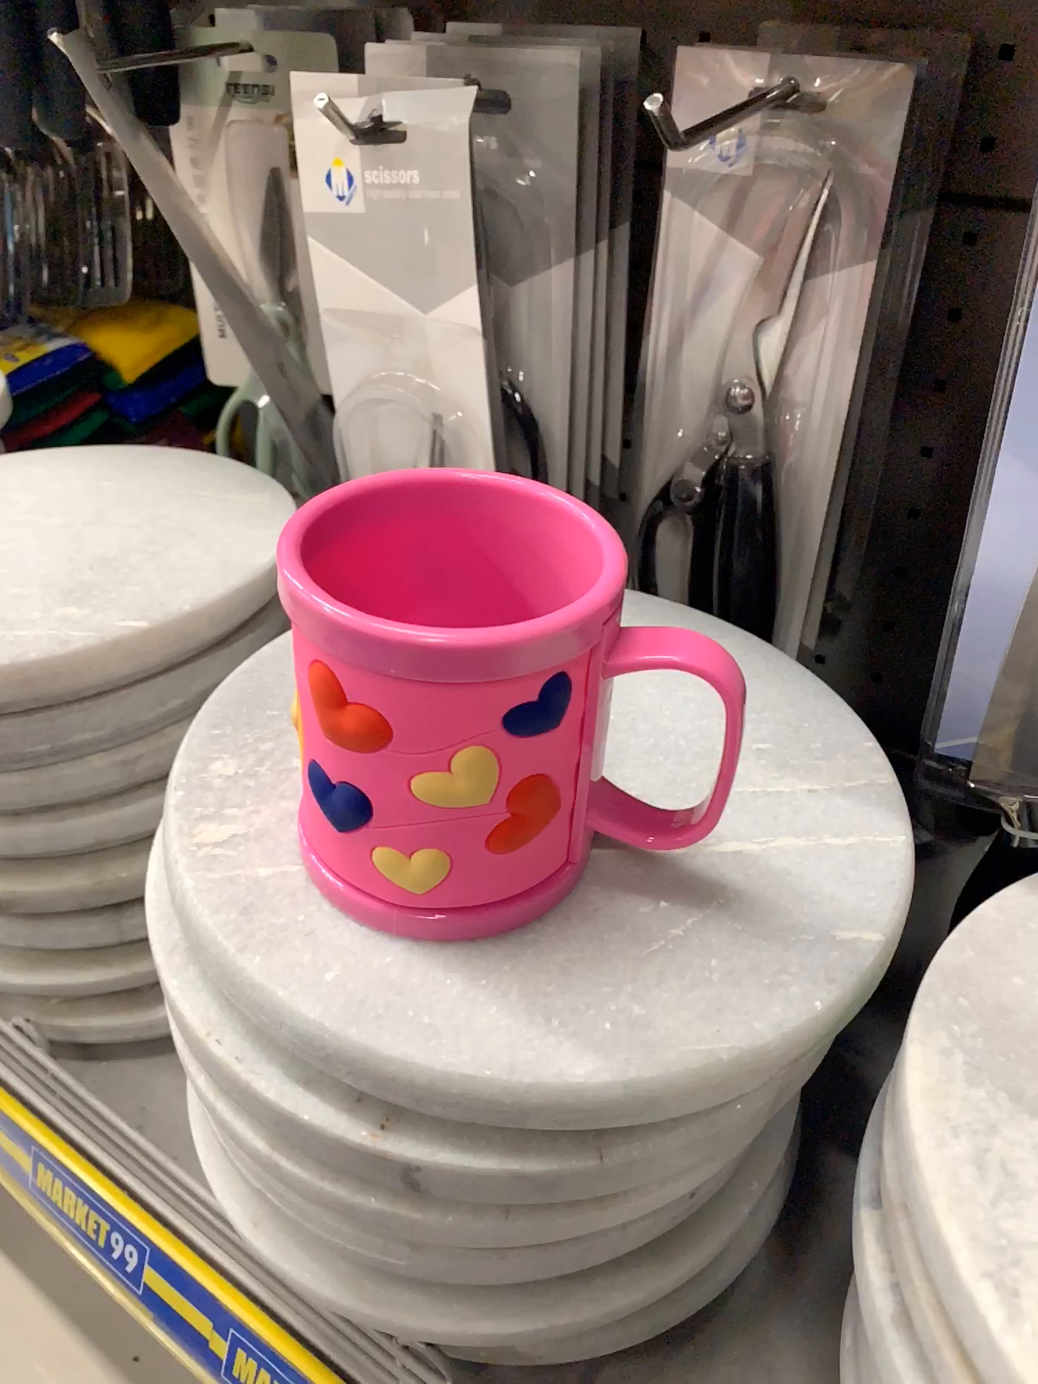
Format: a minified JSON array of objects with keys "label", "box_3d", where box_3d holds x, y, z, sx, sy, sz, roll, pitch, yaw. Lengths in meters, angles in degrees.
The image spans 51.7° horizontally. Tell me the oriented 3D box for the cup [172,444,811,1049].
[{"label":"cup","box_3d":[-0.001,0.008,0.262,0.120,0.100,0.080,10,35,15]}]
